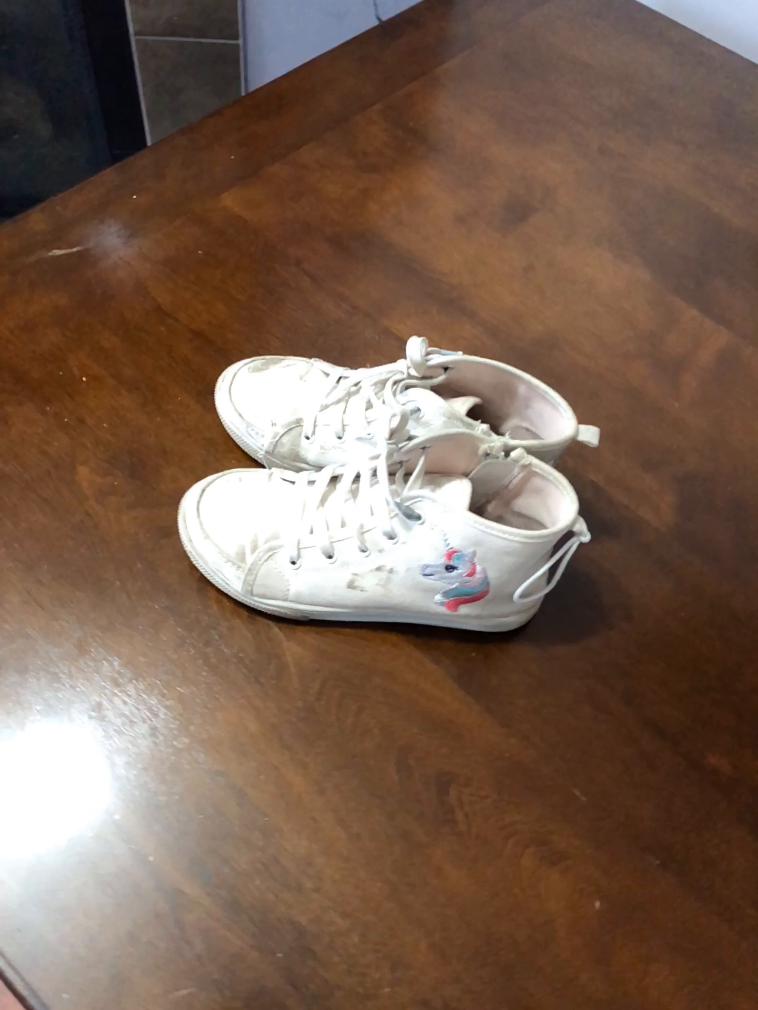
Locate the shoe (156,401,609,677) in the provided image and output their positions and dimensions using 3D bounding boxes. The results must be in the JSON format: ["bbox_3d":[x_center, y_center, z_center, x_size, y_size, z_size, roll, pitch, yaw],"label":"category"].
[{"bbox_3d":[0.002,0.023,0.469,0.220,0.100,0.090,7,58,-2],"label":"shoe"}]

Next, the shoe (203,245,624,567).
[{"bbox_3d":[0.018,-0.058,0.510,0.220,0.100,0.090,19,58,5],"label":"shoe"}]
